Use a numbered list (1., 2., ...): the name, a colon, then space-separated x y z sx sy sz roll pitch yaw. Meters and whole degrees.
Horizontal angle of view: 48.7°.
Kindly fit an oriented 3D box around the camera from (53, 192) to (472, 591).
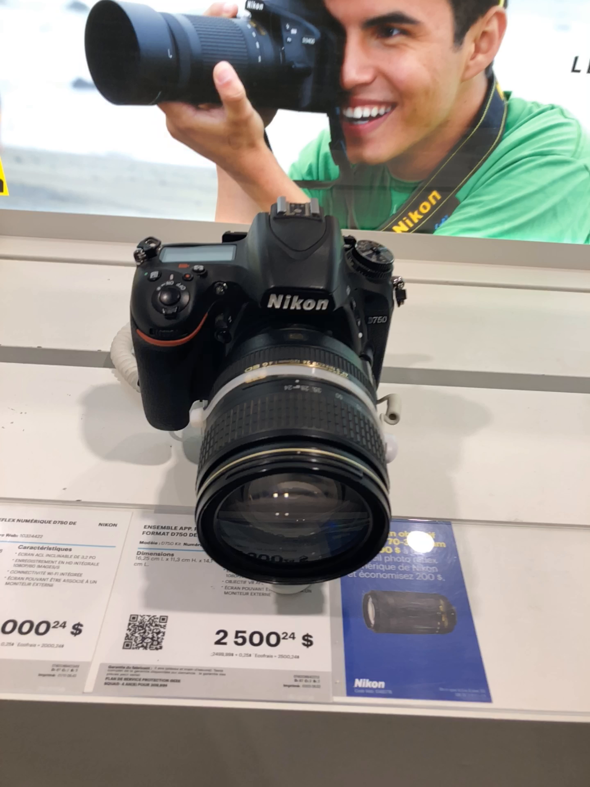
1. camera: -0.015 -0.013 0.317 0.138 0.099 0.184 2 37 -4
